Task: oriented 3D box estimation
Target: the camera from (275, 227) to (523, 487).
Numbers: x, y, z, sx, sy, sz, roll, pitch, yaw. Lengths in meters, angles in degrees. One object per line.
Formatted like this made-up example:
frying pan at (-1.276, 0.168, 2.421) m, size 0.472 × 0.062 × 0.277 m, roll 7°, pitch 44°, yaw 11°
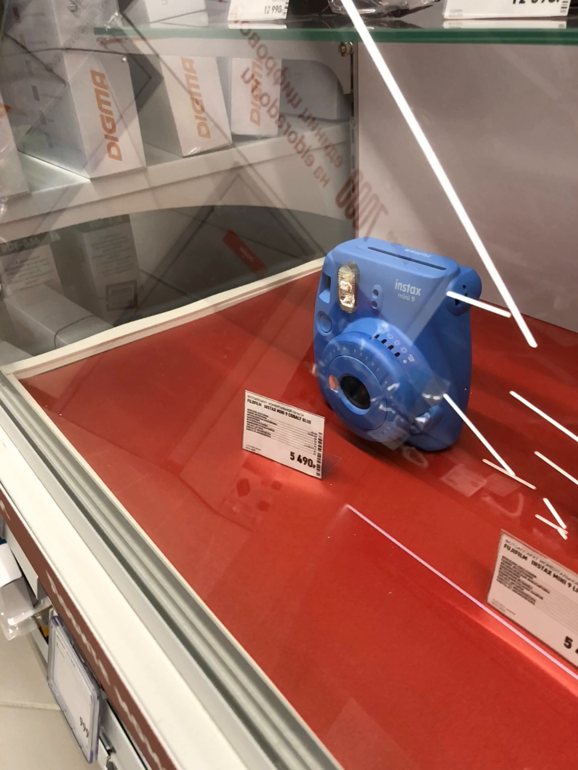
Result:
camera at (0.062, -0.024, 0.393) m, size 0.070 × 0.109 × 0.123 m, roll -29°, pitch 39°, yaw -35°
